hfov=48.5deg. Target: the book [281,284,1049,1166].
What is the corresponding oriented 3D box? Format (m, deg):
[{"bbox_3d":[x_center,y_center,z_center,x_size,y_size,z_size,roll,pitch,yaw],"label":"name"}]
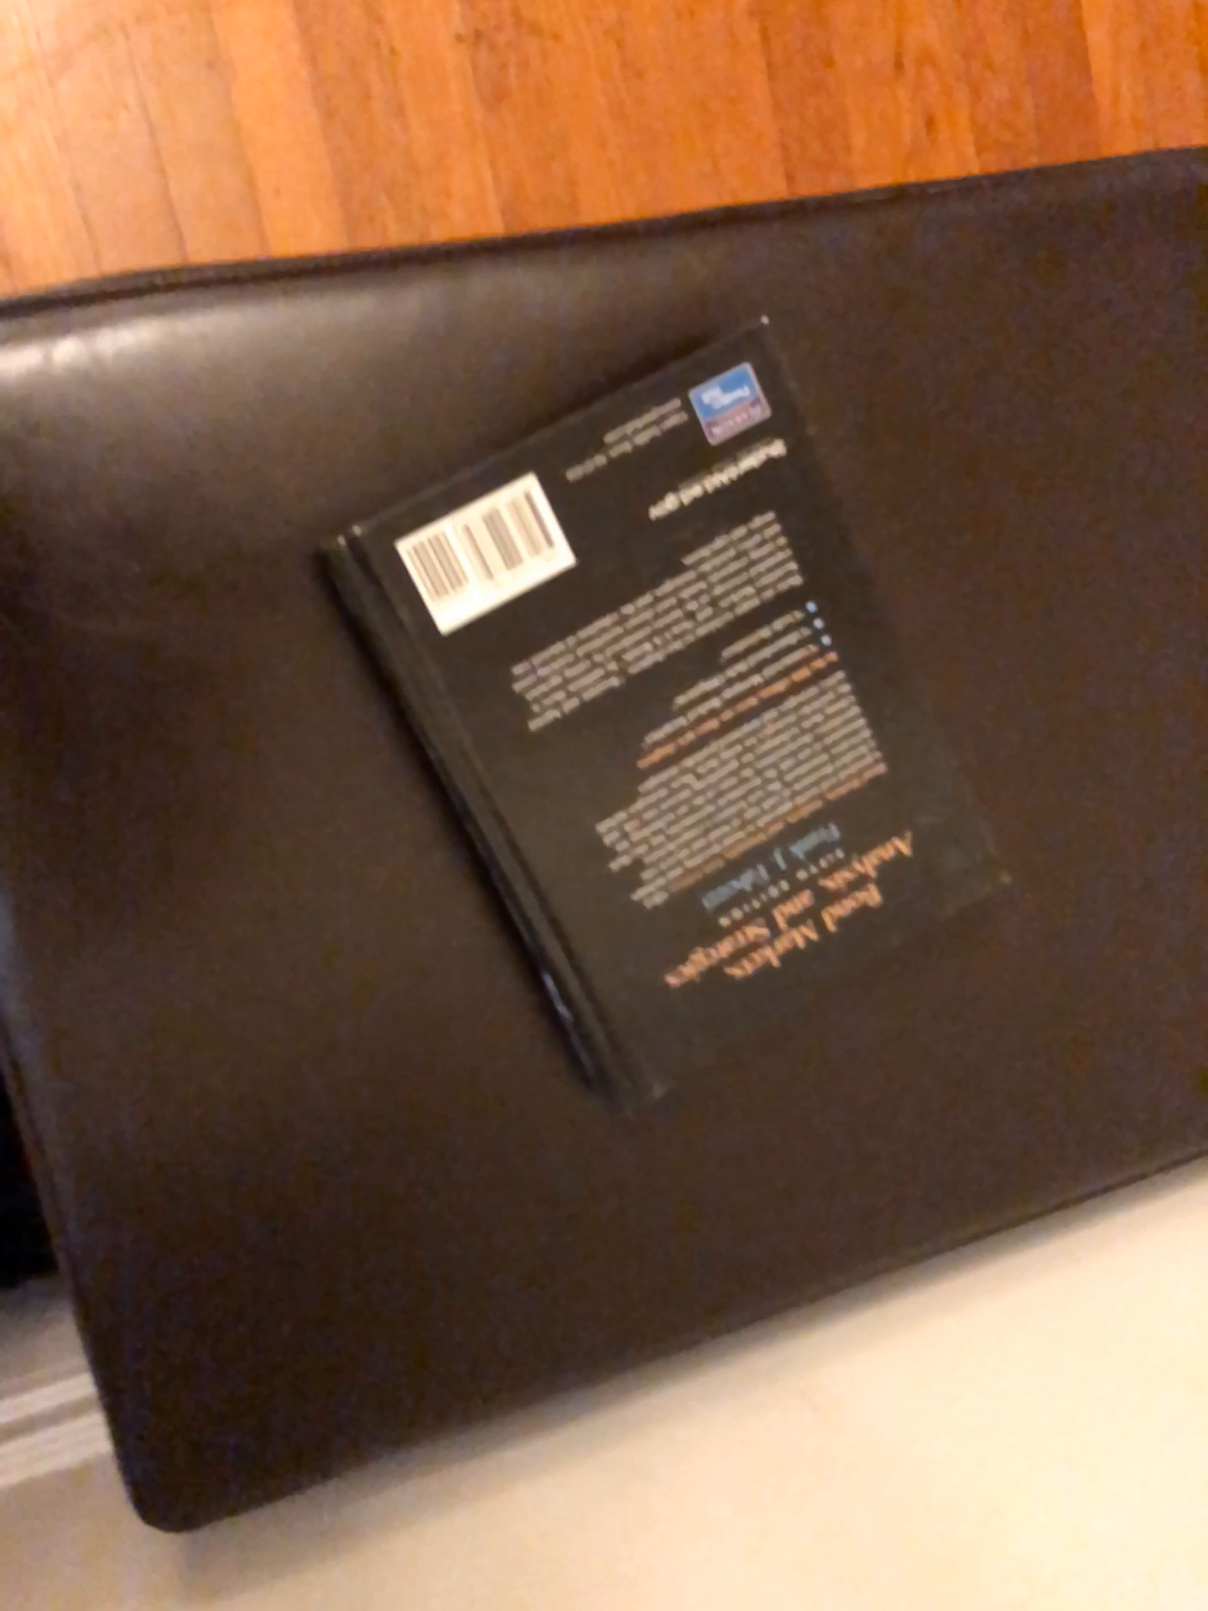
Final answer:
[{"bbox_3d":[0.033,-0.028,0.511,0.200,0.040,0.260,-30,104,-12],"label":"book"}]
